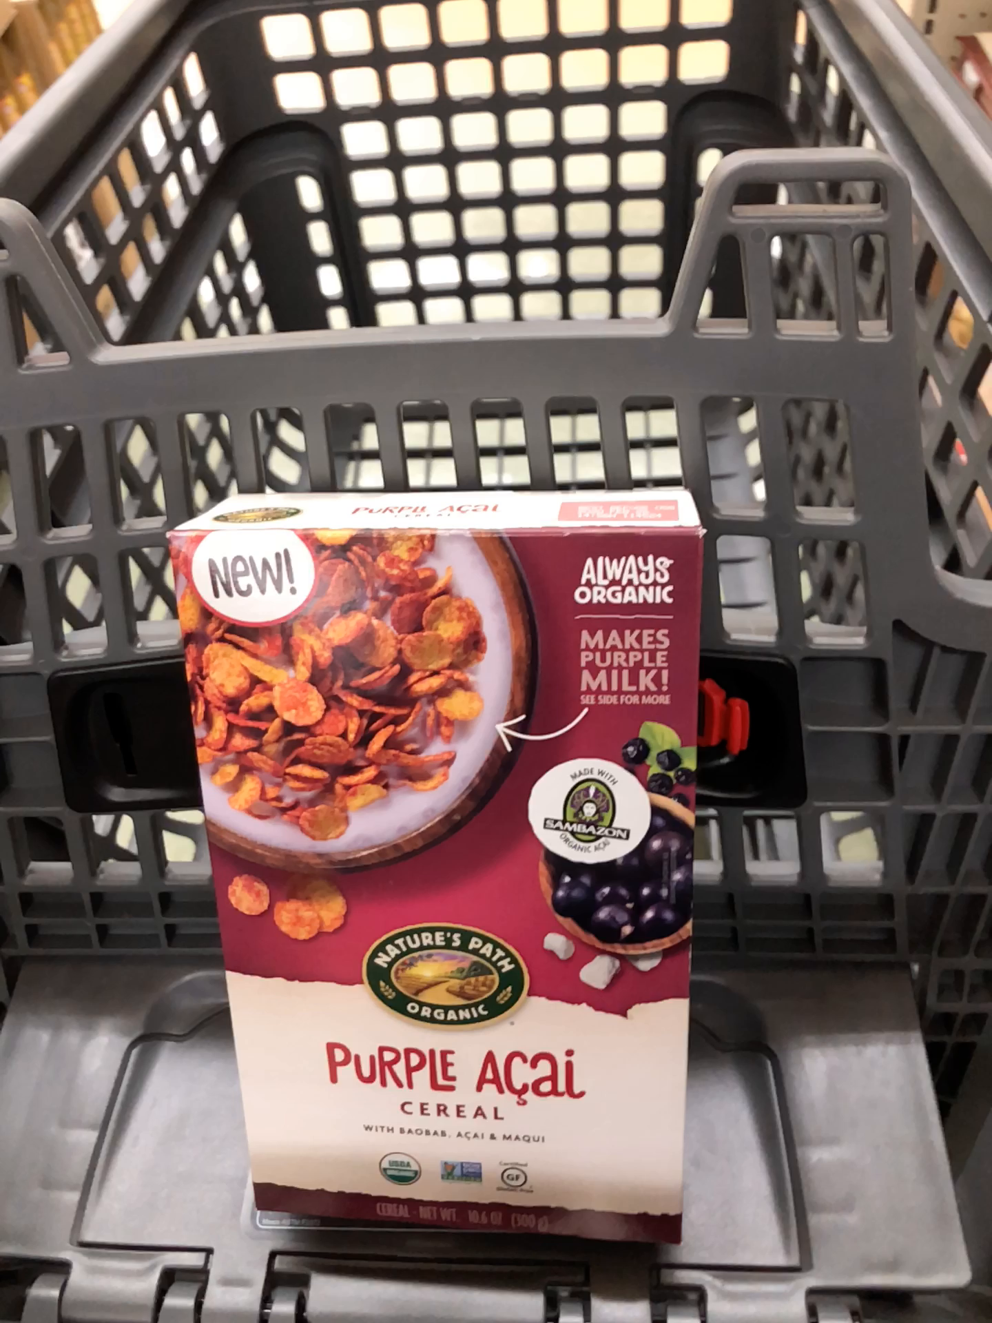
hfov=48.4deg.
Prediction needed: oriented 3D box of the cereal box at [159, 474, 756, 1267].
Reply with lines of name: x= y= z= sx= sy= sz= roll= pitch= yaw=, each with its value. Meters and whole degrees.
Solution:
cereal box: x=-0.007 y=0.075 z=0.388 sx=0.170 sy=0.270 sz=0.070 roll=1 pitch=19 yaw=6
